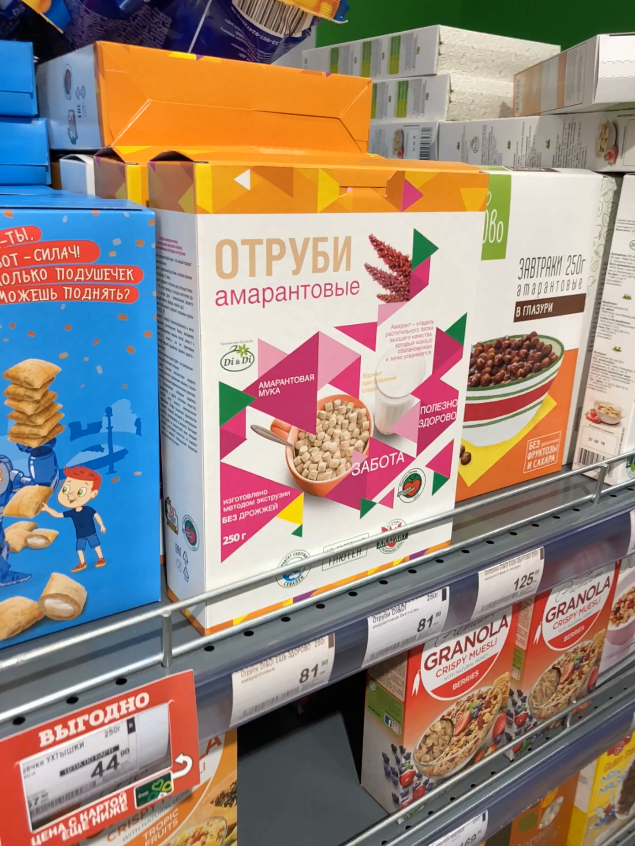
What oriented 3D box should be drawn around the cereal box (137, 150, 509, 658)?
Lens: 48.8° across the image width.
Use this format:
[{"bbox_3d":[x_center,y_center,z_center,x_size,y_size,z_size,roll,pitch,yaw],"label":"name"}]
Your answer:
[{"bbox_3d":[0.007,-0.019,0.416,0.200,0.259,0.060,-11,24,-33],"label":"cereal box"}]
